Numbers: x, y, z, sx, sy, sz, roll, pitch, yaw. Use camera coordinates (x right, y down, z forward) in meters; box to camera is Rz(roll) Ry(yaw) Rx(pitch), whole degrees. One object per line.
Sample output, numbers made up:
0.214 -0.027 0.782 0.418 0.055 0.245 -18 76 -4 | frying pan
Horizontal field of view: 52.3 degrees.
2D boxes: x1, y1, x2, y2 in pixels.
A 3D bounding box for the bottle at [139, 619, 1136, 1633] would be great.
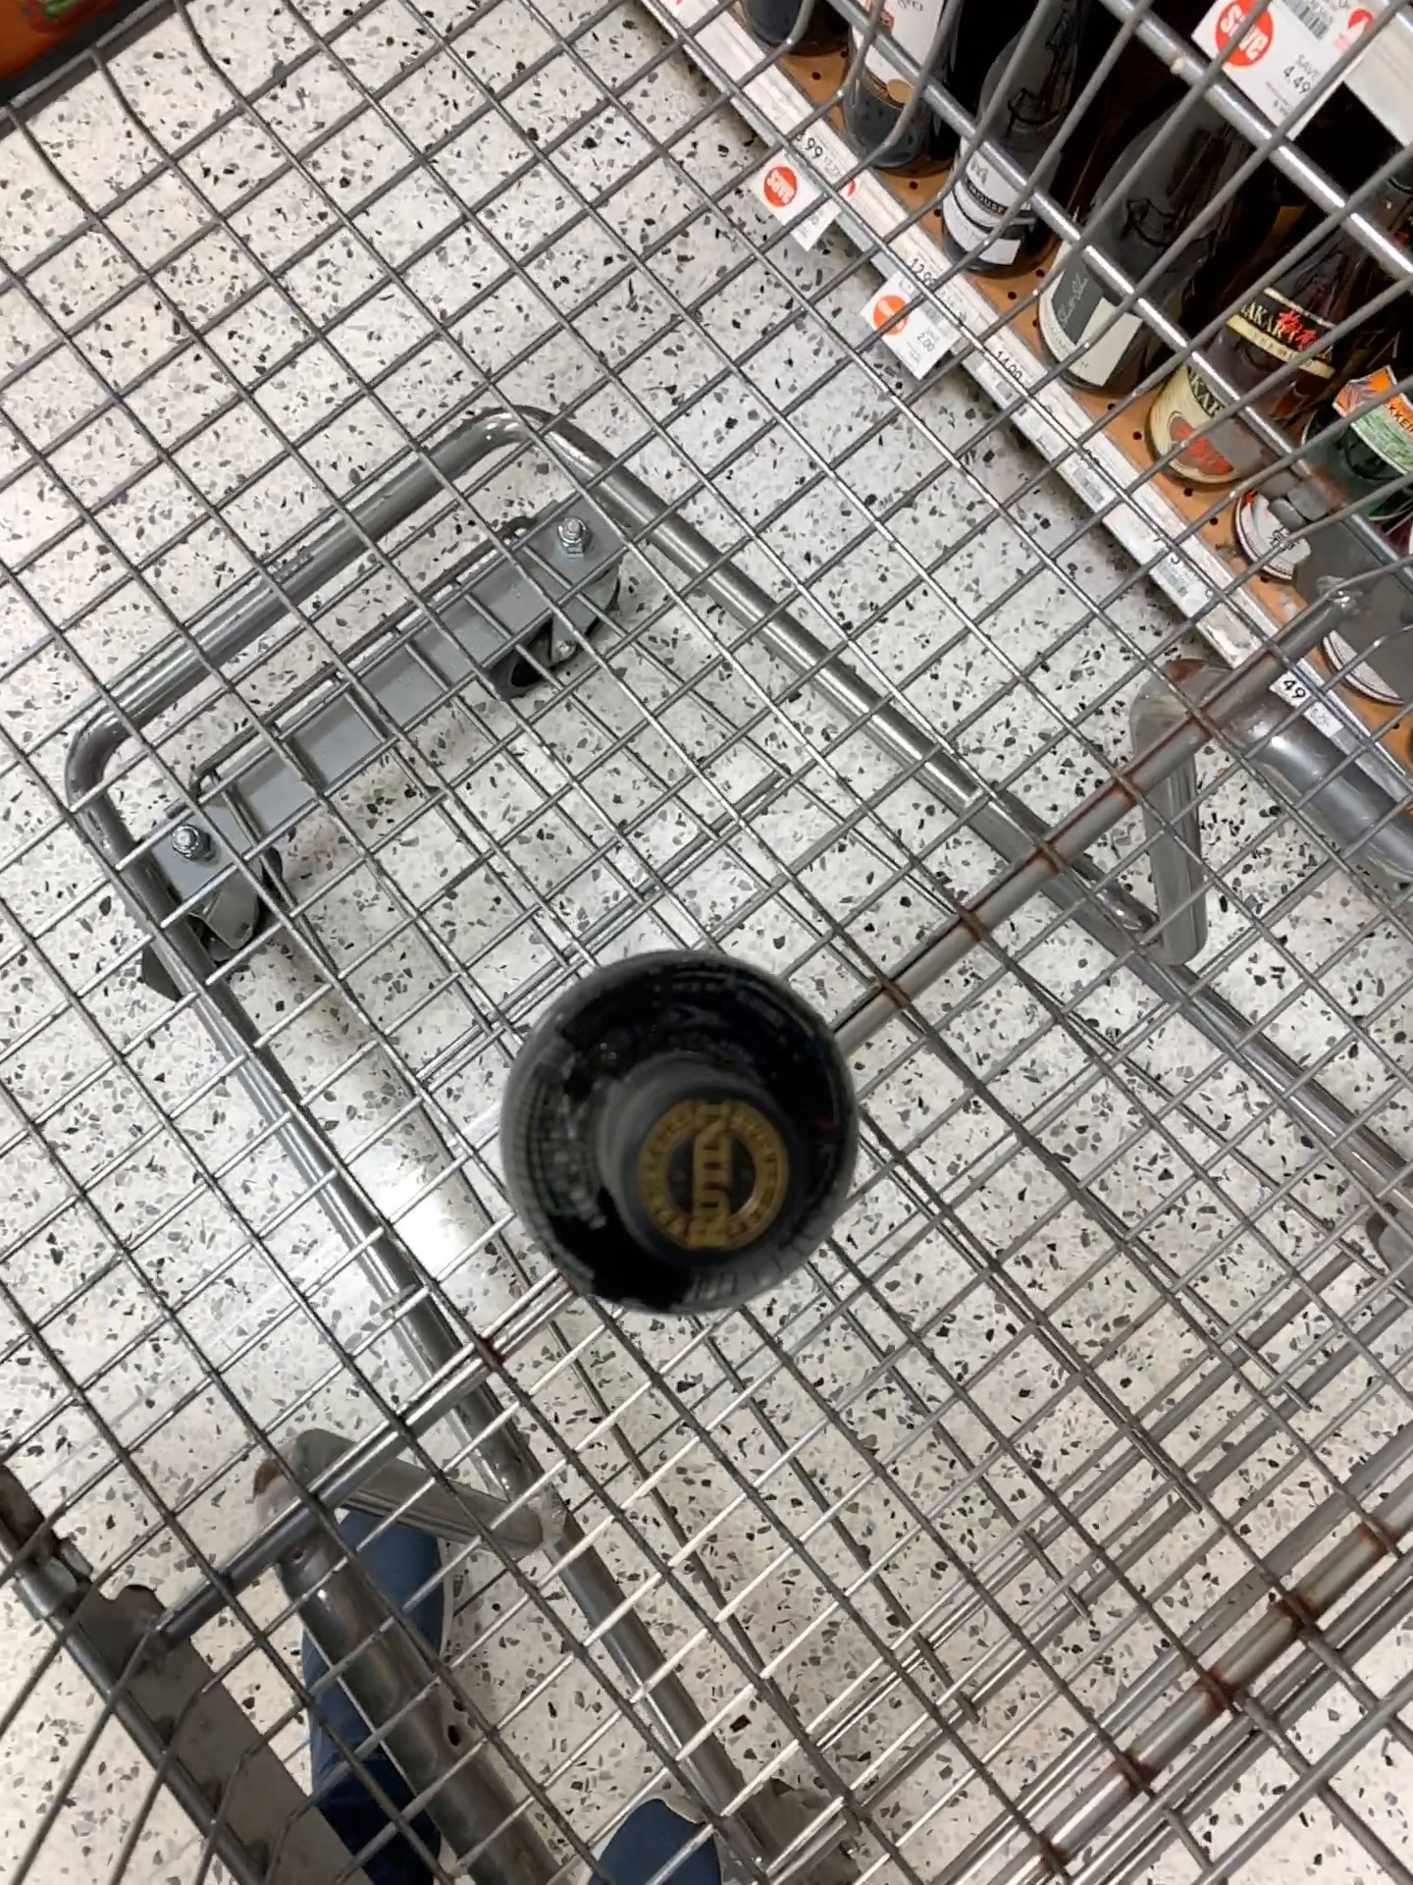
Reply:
-0.012 0.037 0.342 0.090 0.300 0.100 -40 86 -5 | bottle
